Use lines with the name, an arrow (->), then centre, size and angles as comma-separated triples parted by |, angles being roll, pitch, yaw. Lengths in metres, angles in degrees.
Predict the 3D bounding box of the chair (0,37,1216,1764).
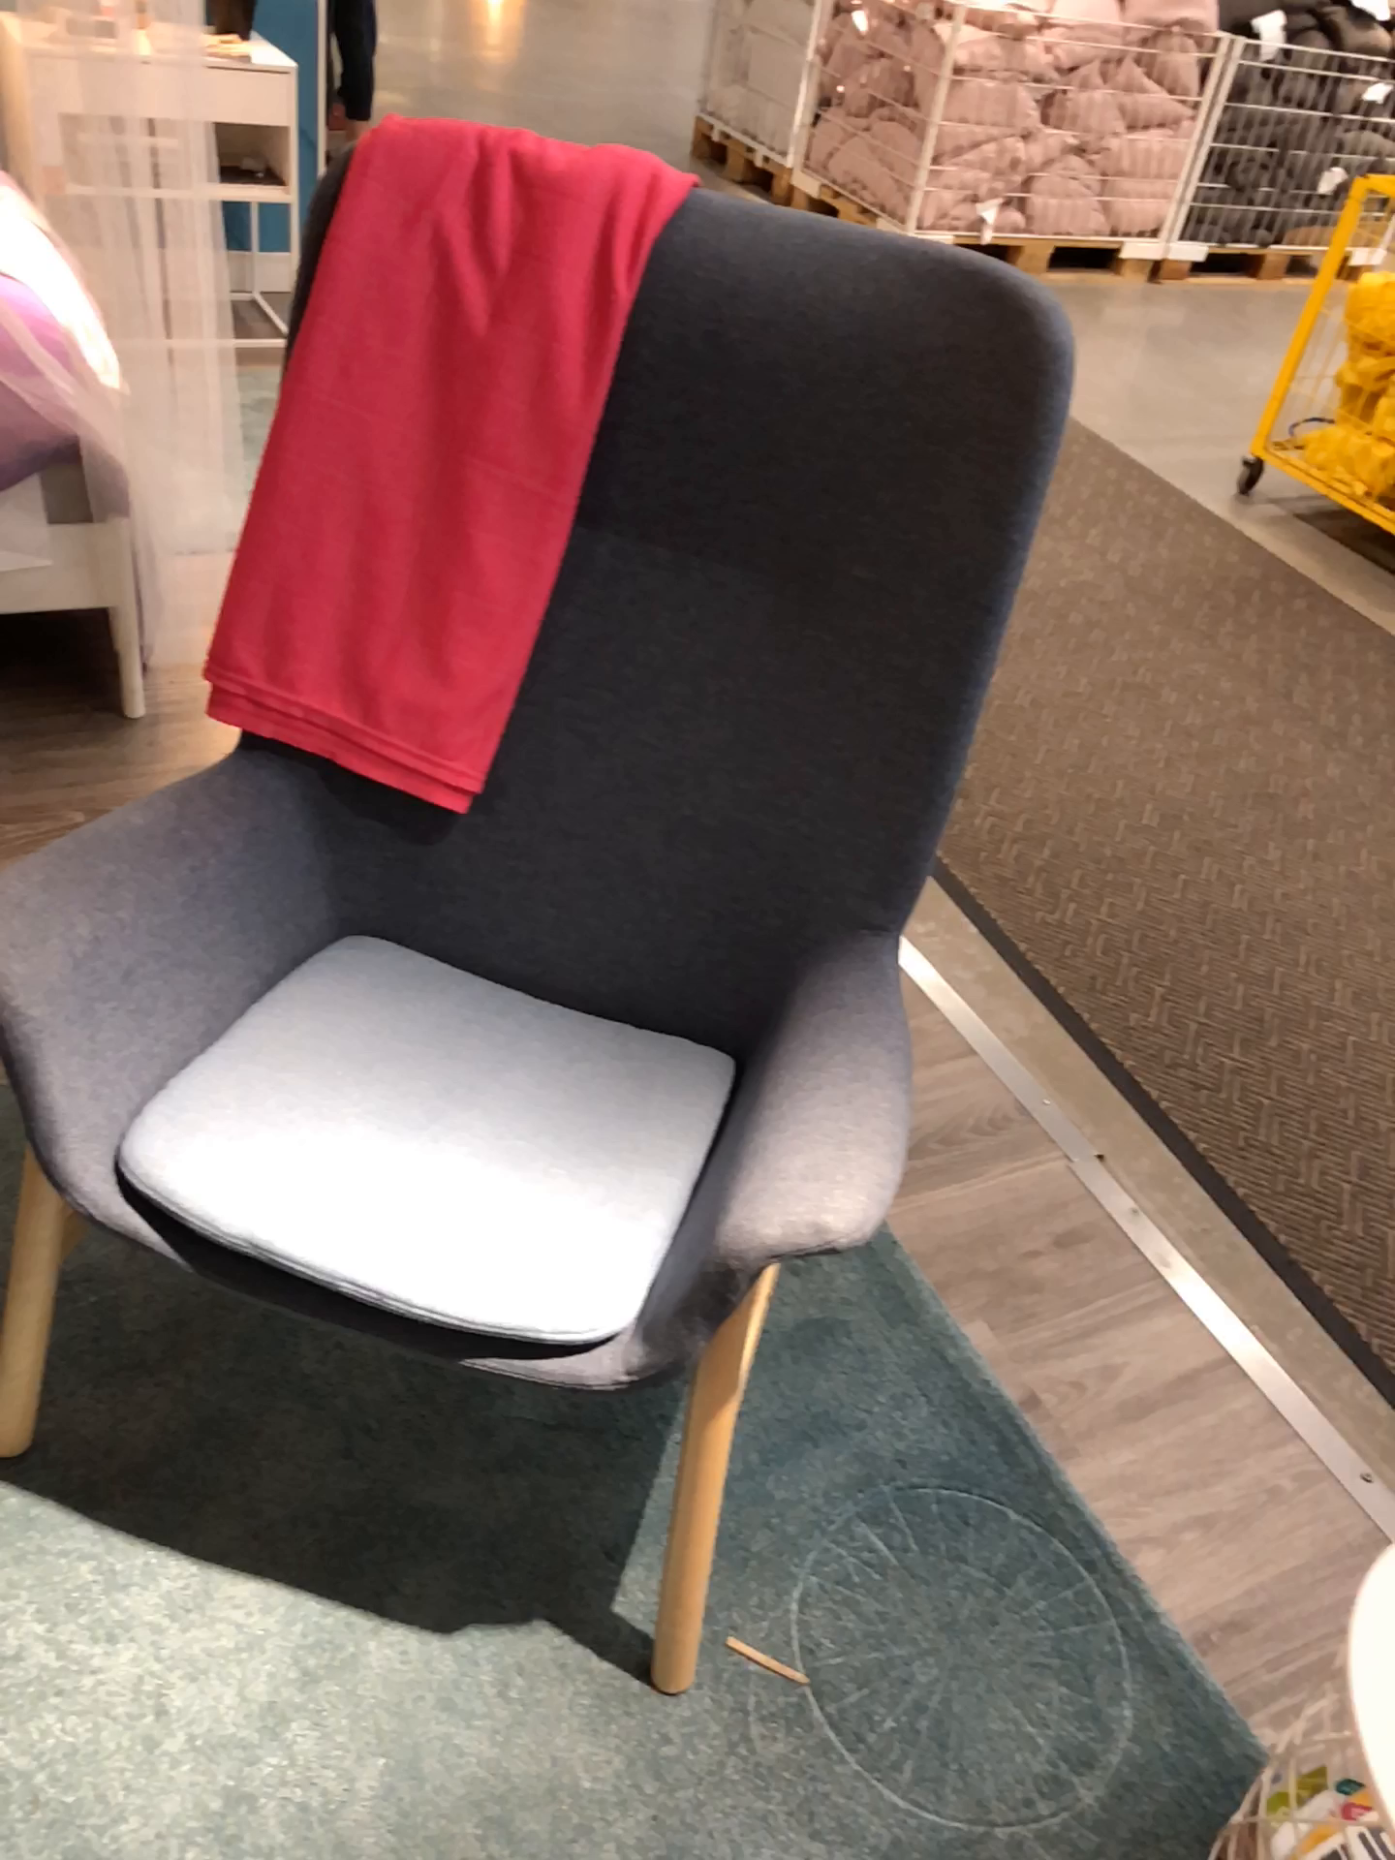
chair -> -0.160, -0.036, 1.235 | 0.790, 0.996, 0.703 | 16, 37, 6
